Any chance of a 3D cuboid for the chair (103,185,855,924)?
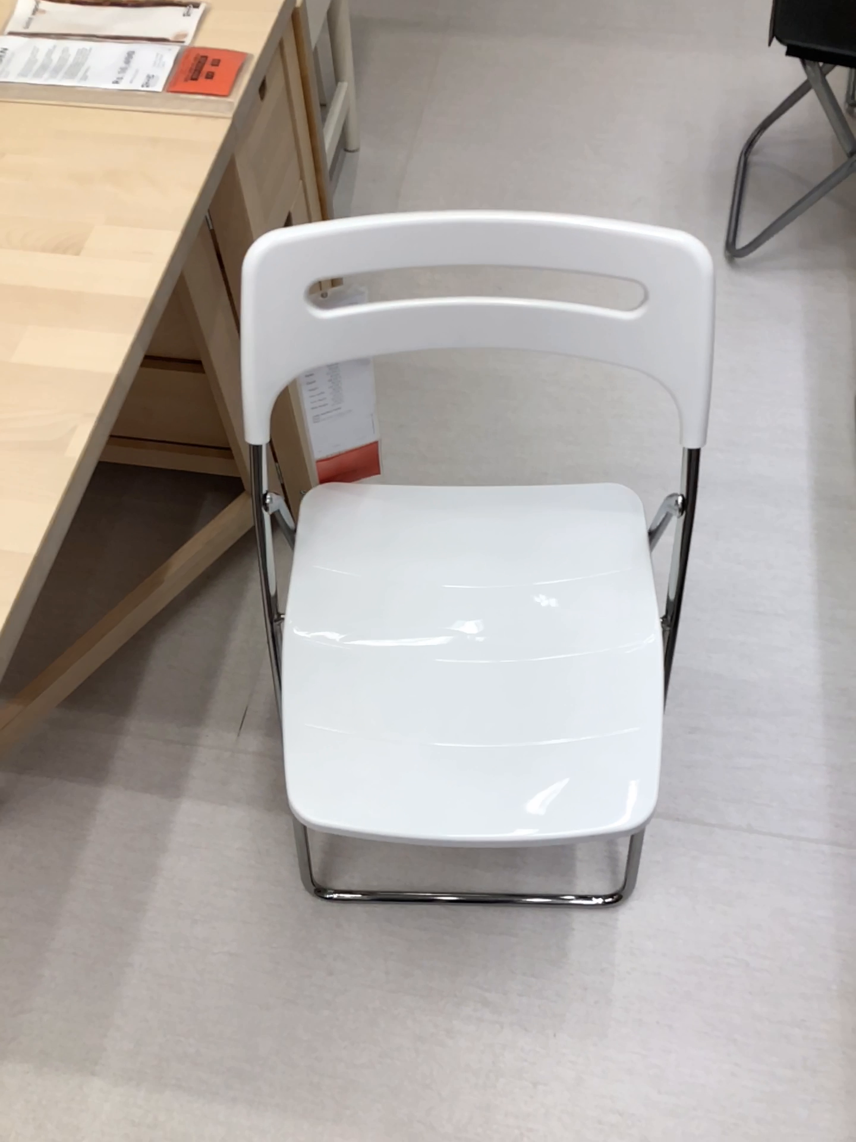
[{"bbox_3d":[0.050,0.058,0.945,0.440,0.717,0.422,1,59,2],"label":"chair"}]
